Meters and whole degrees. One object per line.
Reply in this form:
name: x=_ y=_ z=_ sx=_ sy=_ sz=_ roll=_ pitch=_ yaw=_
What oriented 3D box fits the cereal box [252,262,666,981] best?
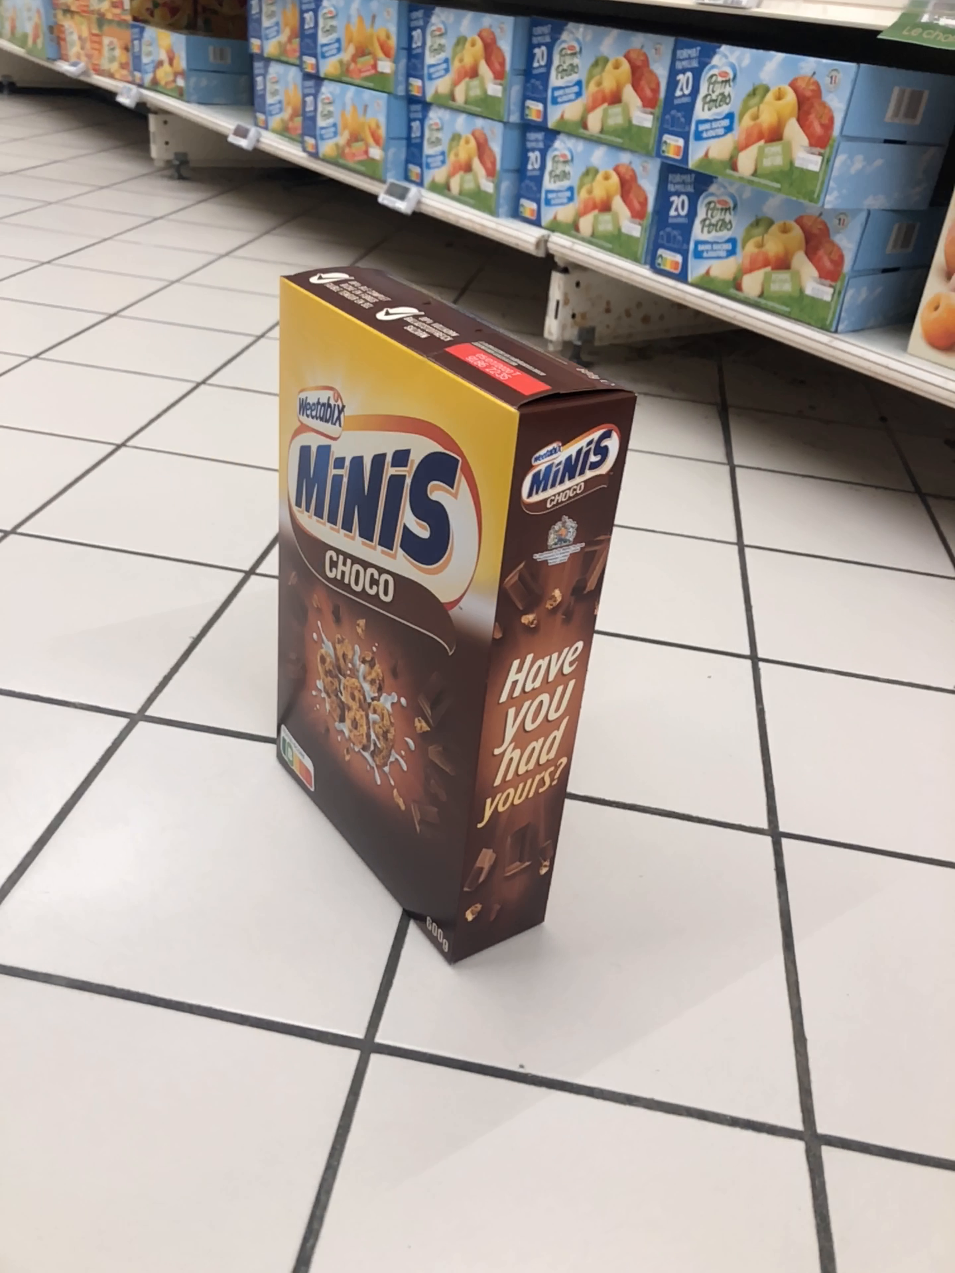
cereal box: x=-0.031 y=-0.013 z=0.524 sx=0.080 sy=0.288 sz=0.200 roll=-15 pitch=37 yaw=-33
